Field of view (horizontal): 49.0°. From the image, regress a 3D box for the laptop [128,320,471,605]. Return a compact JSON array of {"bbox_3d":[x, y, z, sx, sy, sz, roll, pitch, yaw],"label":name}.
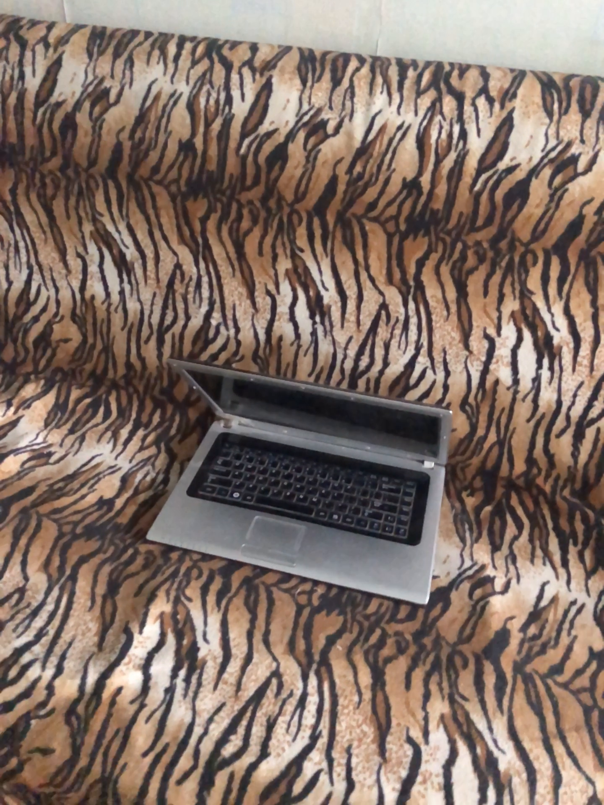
[{"bbox_3d":[0.007,0.060,0.828,0.350,0.179,0.239,11,39,11],"label":"laptop"}]
